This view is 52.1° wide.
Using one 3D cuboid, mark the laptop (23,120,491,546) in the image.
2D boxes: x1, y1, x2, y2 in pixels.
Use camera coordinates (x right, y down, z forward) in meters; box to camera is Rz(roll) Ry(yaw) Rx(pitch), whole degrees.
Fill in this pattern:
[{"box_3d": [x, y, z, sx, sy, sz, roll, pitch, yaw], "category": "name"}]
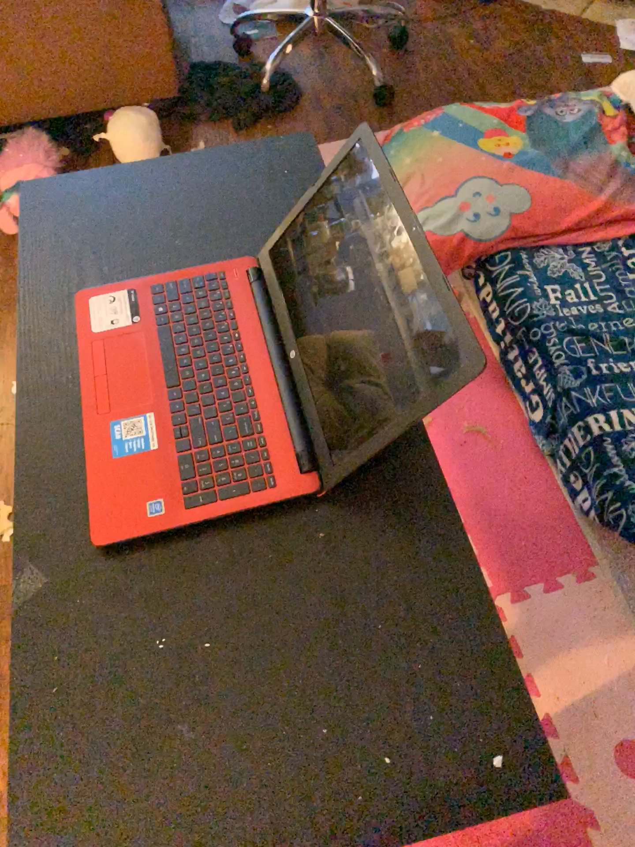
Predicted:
[{"box_3d": [-0.087, -0.117, 0.737, 0.409, 0.170, 0.376, -14, 58, -5], "category": "laptop"}]
